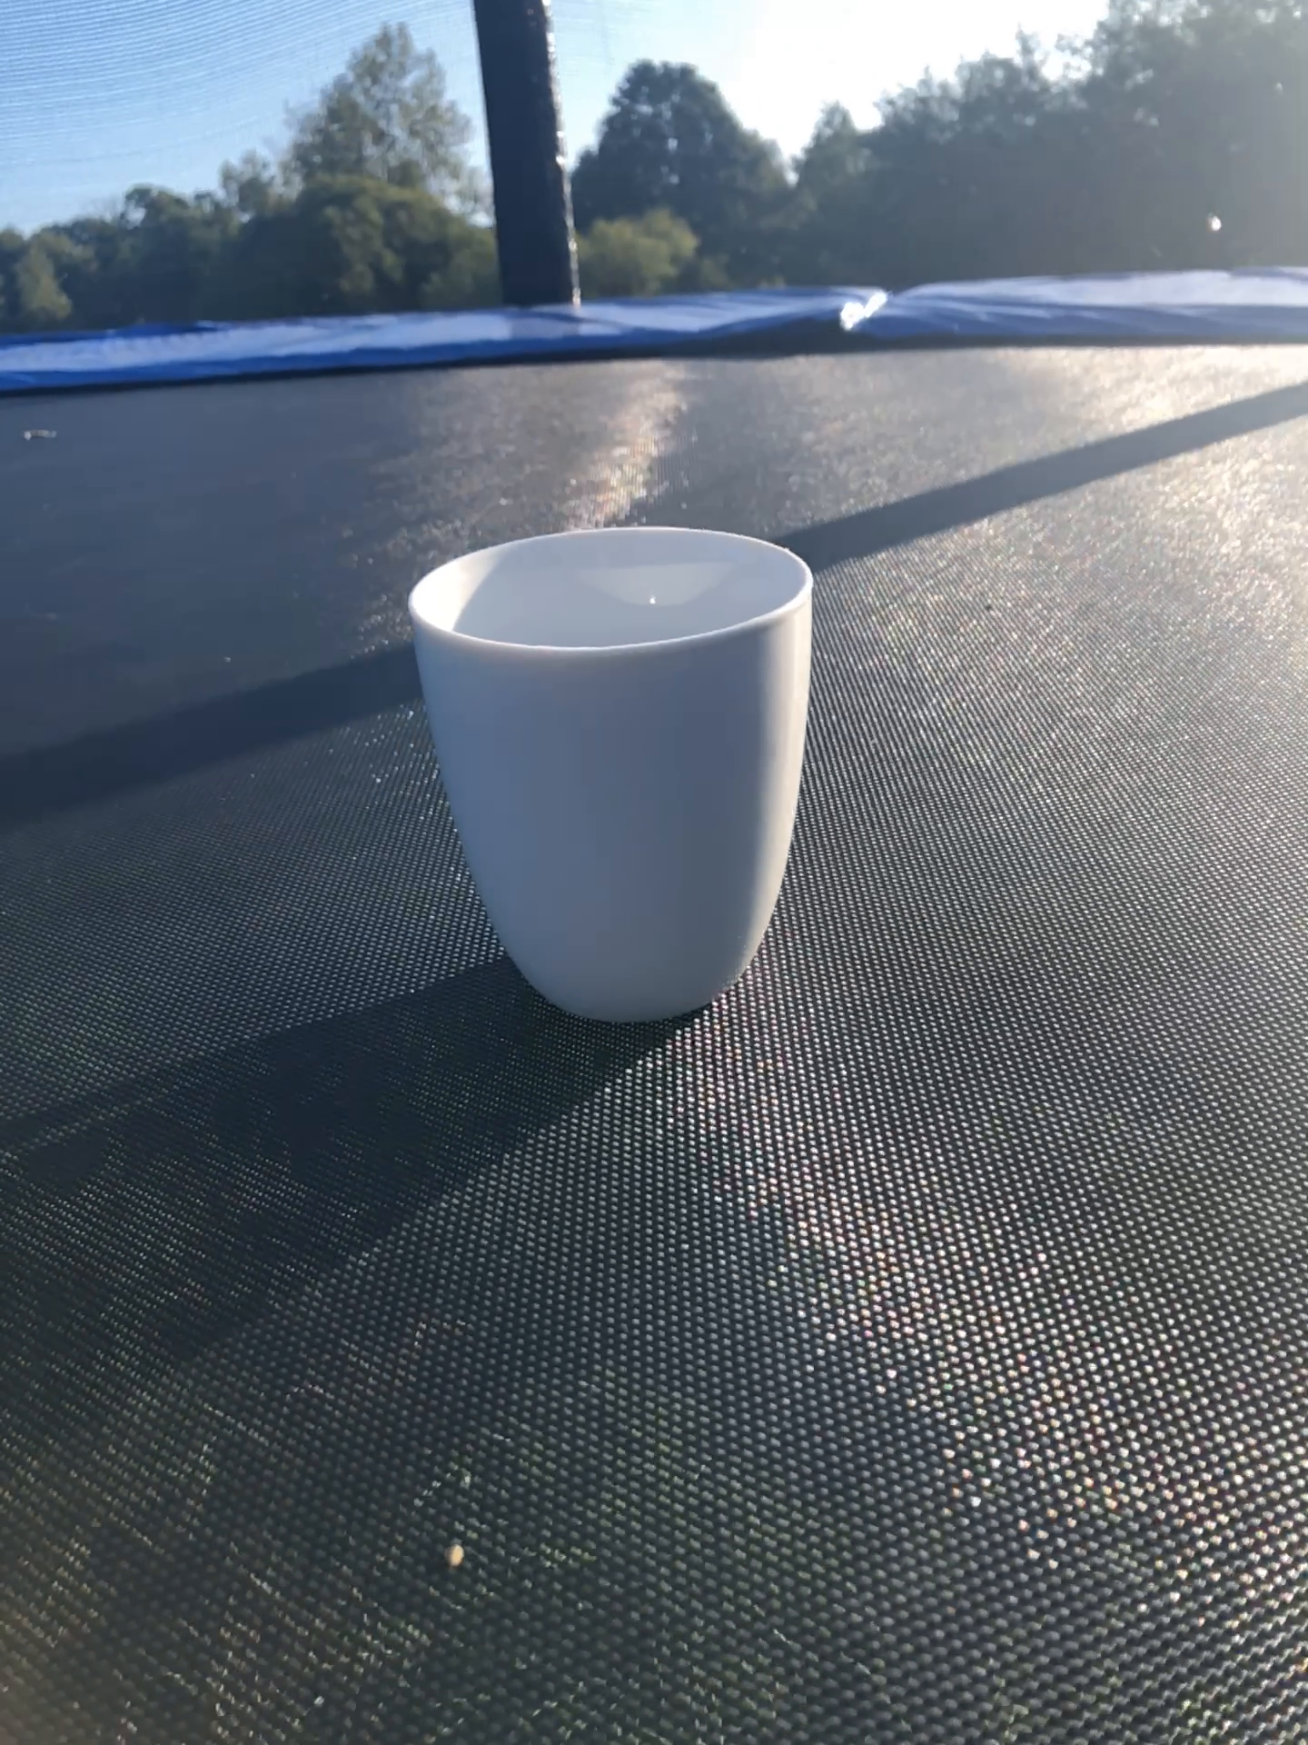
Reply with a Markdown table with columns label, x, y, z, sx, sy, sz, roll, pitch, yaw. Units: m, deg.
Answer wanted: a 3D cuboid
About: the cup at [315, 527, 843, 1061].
| label | x | y | z | sx | sy | sz | roll | pitch | yaw |
| --- | --- | --- | --- | --- | --- | --- | --- | --- | --- |
| cup | -0.013 | -0.024 | 0.342 | 0.100 | 0.089 | 0.111 | 0 | 26 | 1 |
